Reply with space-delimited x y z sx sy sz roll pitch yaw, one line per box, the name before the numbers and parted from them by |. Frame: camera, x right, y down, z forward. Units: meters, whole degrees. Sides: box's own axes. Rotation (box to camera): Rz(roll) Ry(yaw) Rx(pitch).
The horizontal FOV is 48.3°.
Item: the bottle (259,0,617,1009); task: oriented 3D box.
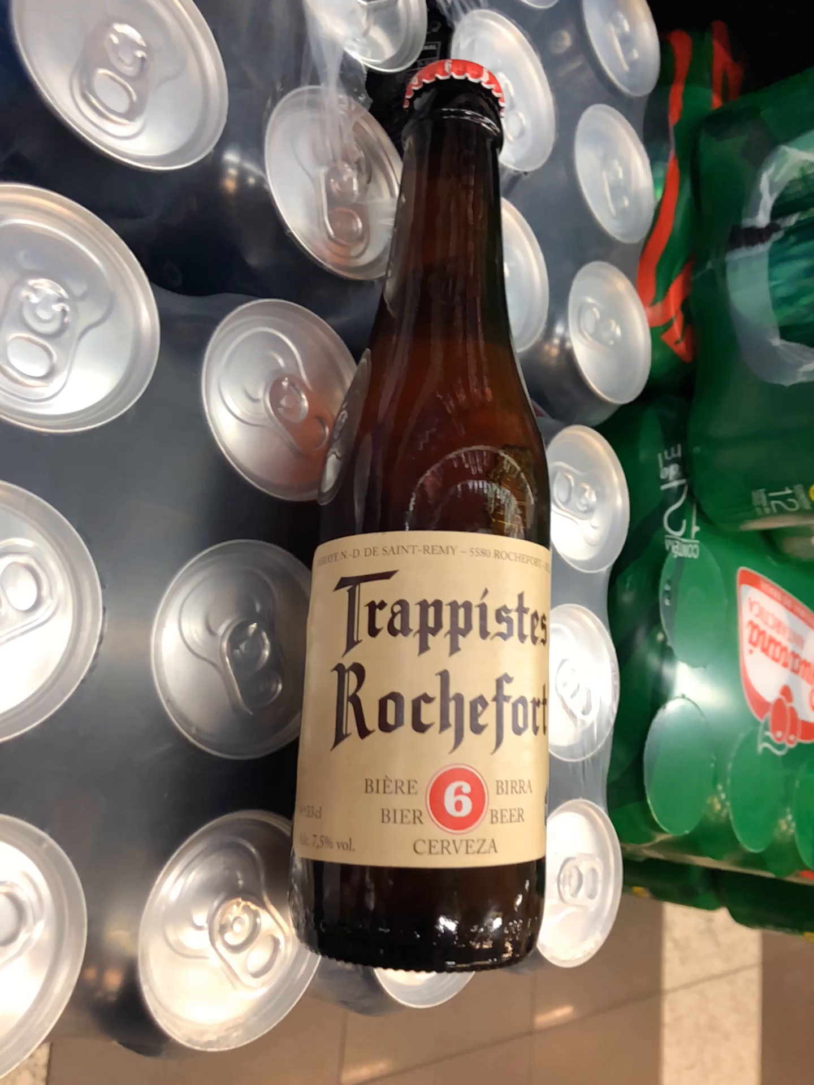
bottle | 0.013 -0.025 0.227 0.060 0.050 0.240 13 76 -42
